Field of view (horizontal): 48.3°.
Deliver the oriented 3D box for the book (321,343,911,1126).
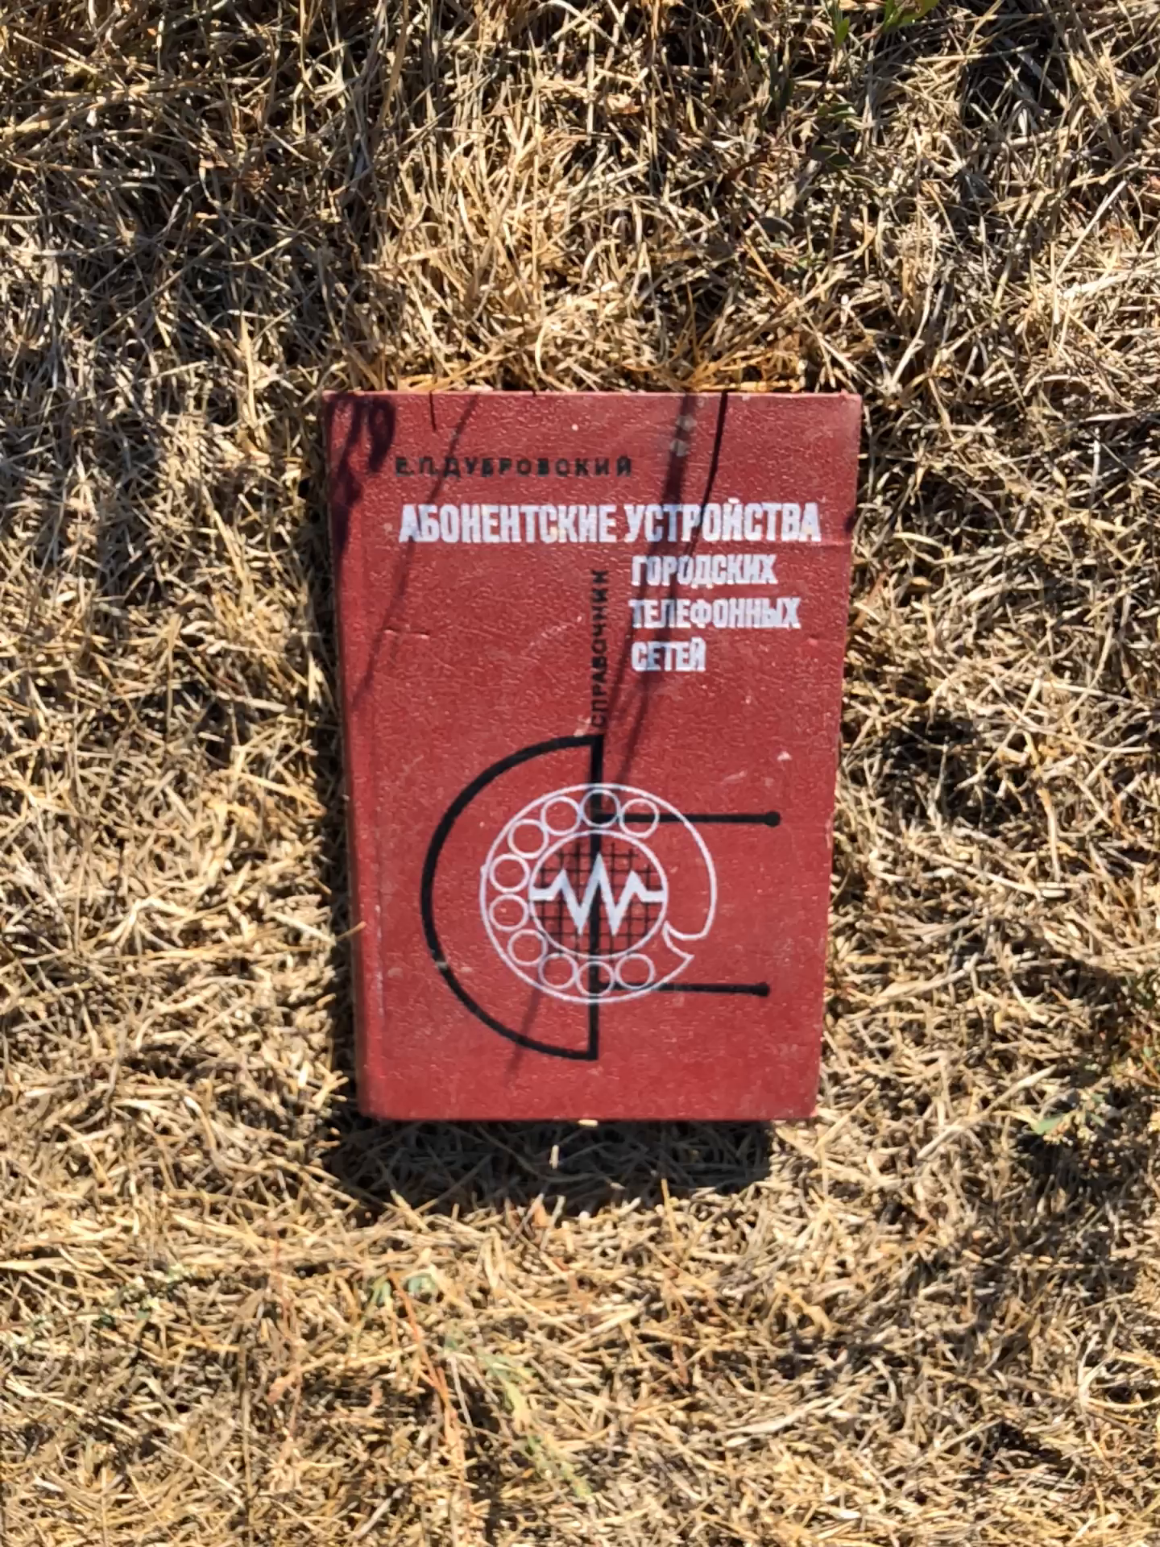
[{"bbox_3d":[0.007,-0.005,0.355,0.141,0.030,0.212,0,107,-2],"label":"book"}]
